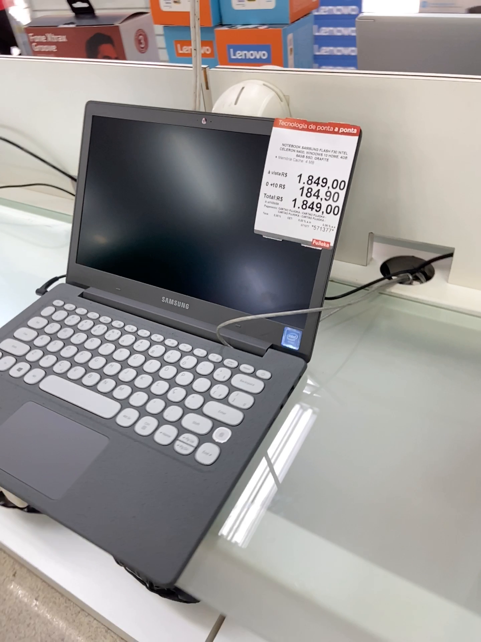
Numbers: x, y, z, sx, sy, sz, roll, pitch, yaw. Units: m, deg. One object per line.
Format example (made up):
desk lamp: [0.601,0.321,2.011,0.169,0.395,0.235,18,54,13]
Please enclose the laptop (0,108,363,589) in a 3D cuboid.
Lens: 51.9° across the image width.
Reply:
laptop: [-0.111,-0.036,0.441,0.325,0.172,0.342,16,46,27]
